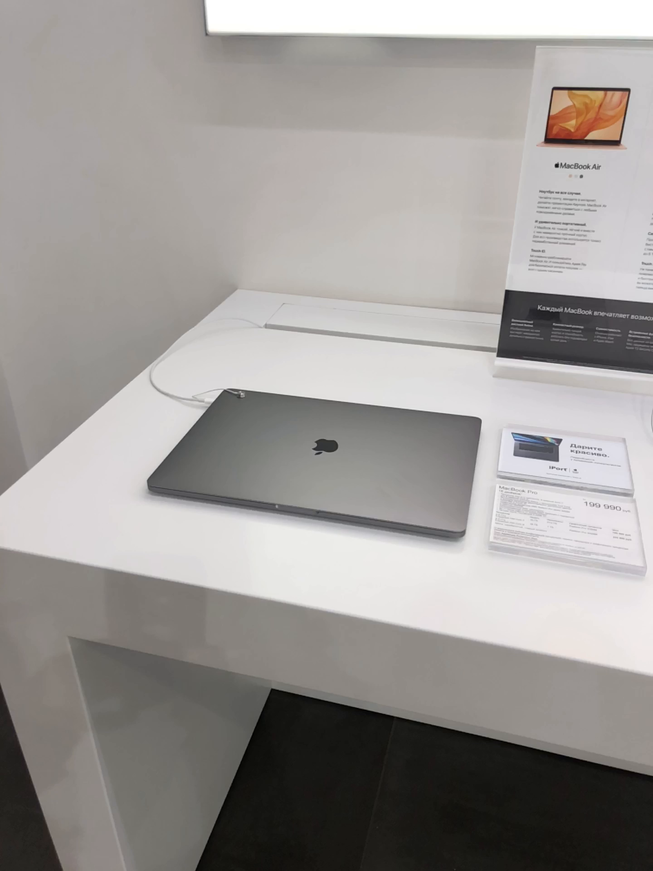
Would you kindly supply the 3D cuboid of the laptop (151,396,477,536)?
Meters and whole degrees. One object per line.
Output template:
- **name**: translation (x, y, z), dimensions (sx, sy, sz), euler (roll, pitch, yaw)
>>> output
- **laptop**: translation (-0.001, 0.024, 0.861), dimensions (0.344, 0.003, 0.232), euler (7, 32, 13)
